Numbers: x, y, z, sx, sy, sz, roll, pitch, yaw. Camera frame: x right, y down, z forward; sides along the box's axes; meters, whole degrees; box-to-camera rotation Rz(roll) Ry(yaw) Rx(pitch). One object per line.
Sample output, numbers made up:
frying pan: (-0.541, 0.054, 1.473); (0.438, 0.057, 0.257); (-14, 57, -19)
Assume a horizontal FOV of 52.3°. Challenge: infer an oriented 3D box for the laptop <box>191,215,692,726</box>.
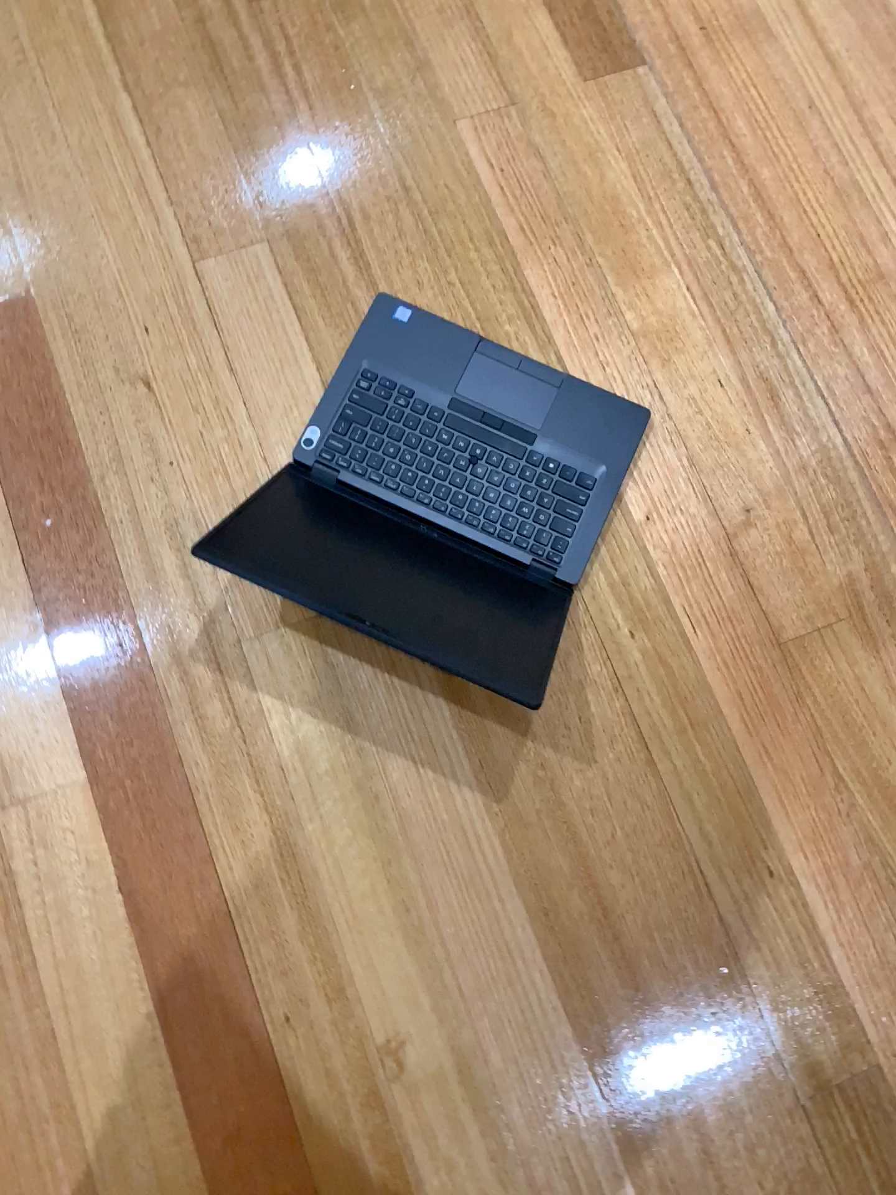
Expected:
laptop: (0.001, -0.120, 0.877); (0.320, 0.134, 0.372); (24, 75, 3)
